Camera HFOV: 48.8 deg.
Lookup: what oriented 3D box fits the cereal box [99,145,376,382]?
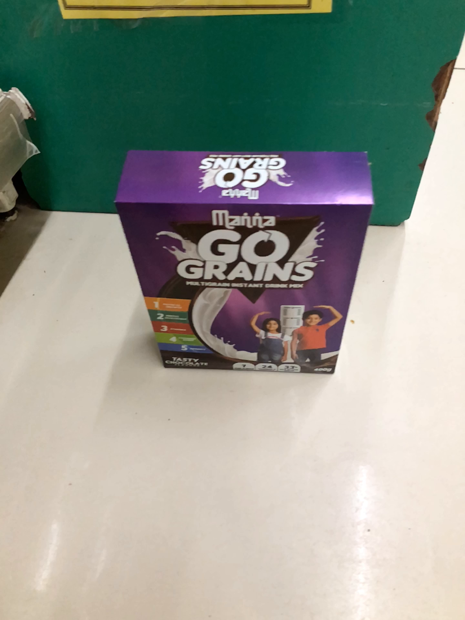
[{"bbox_3d":[0.006,-0.021,0.367,0.150,0.189,0.050,1,52,3],"label":"cereal box"}]
